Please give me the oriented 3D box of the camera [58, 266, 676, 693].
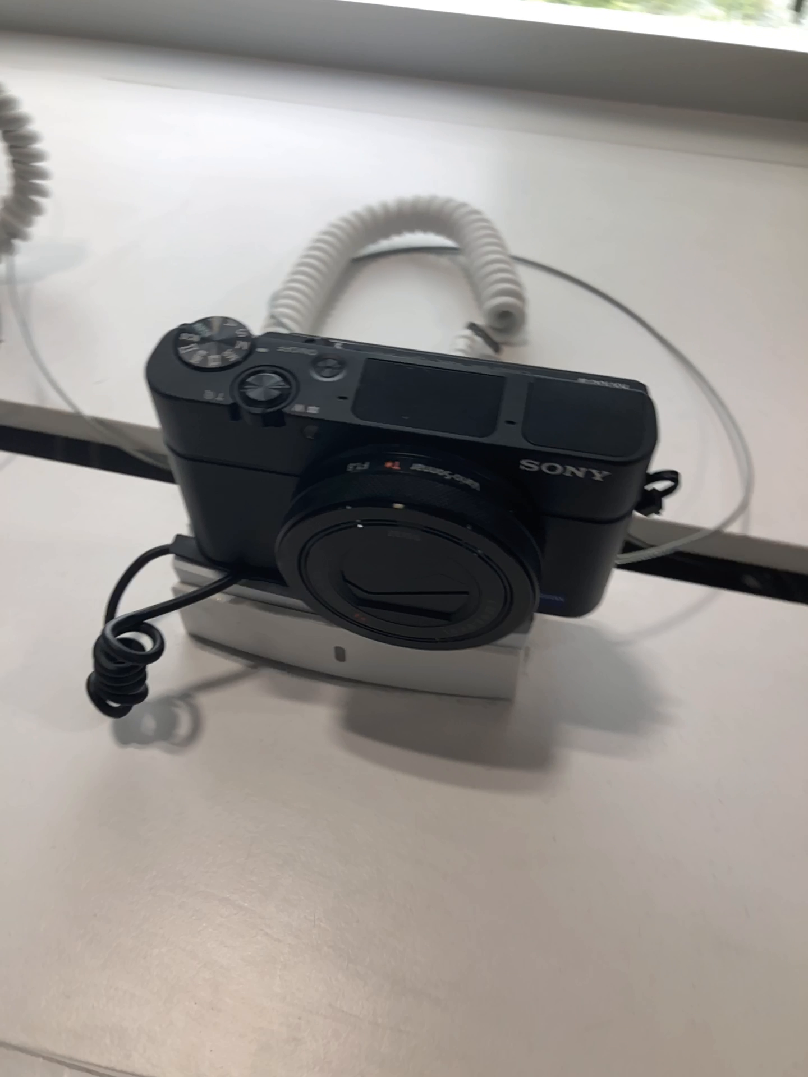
[{"bbox_3d":[-0.005,-0.011,0.197,0.110,0.070,0.040,10,52,7],"label":"camera"}]
